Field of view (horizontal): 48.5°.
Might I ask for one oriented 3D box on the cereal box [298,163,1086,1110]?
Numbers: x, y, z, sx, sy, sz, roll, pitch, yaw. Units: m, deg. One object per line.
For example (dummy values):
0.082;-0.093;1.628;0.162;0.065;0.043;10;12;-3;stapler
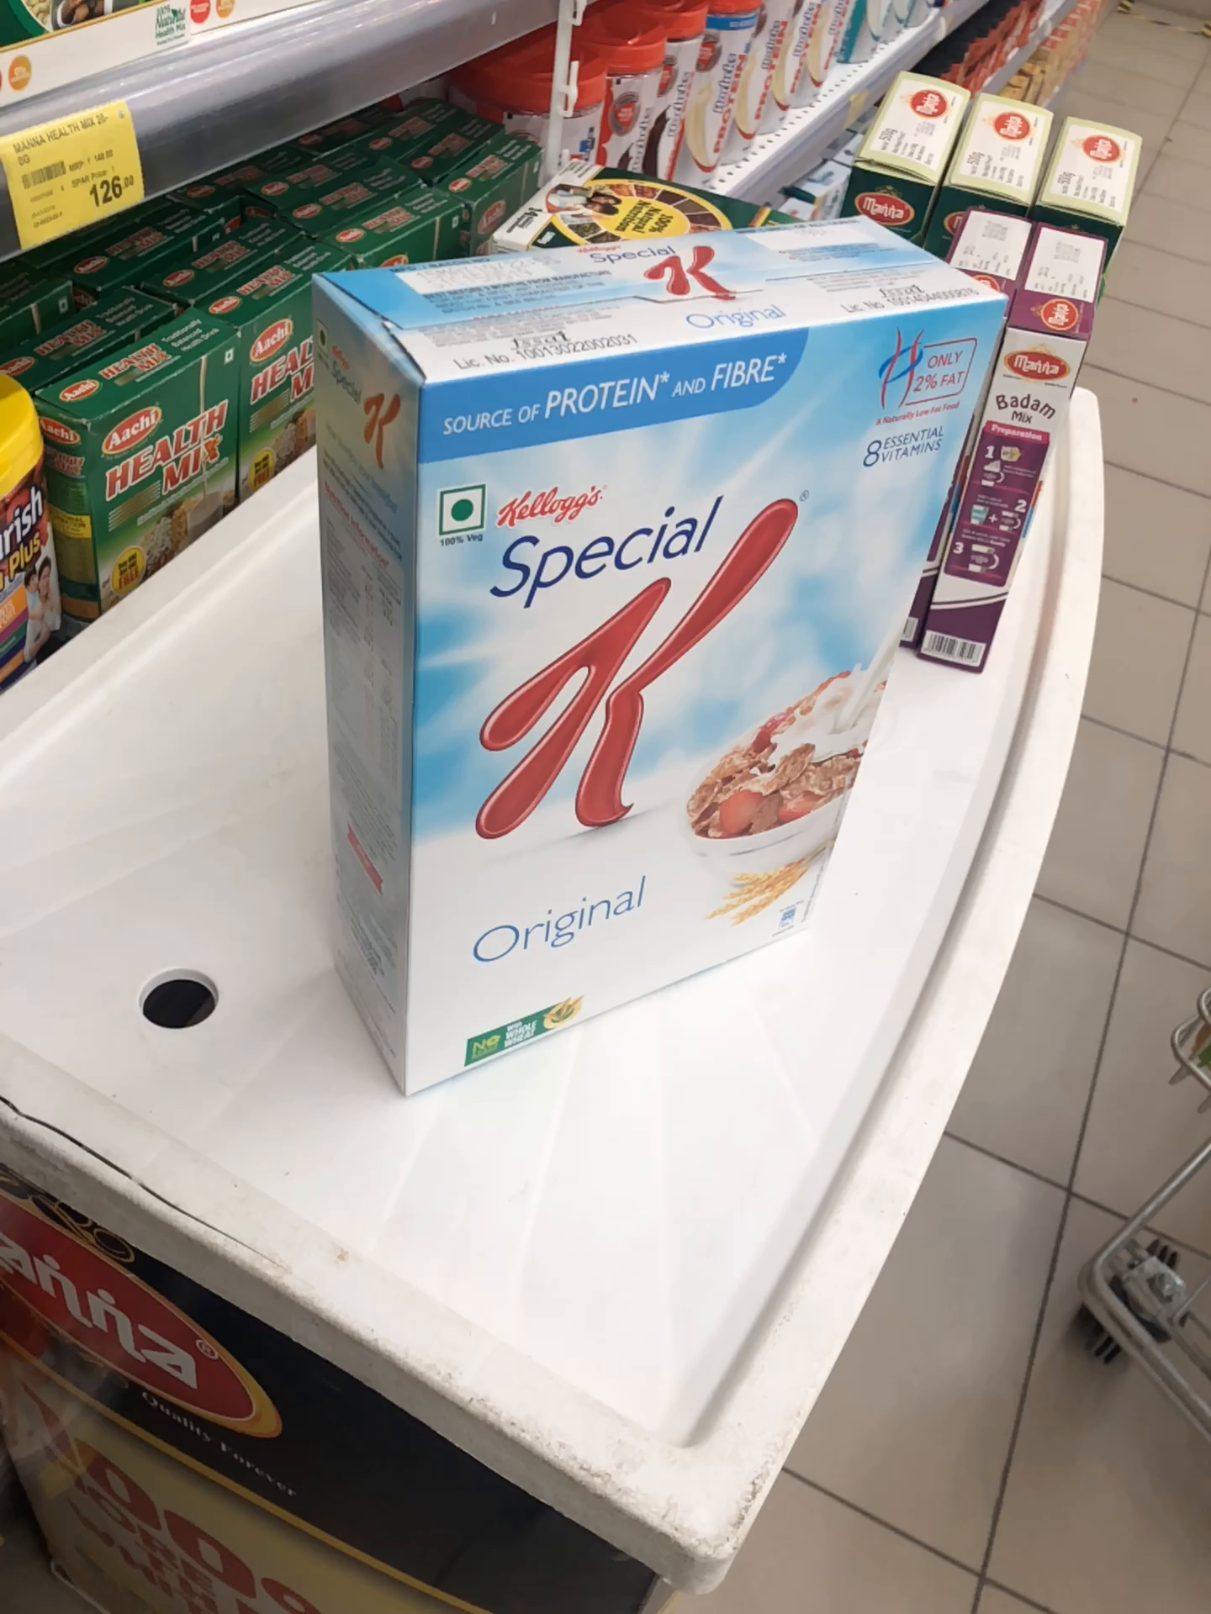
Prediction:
0.013;-0.045;0.417;0.190;0.259;0.070;-19;49;-27;cereal box
